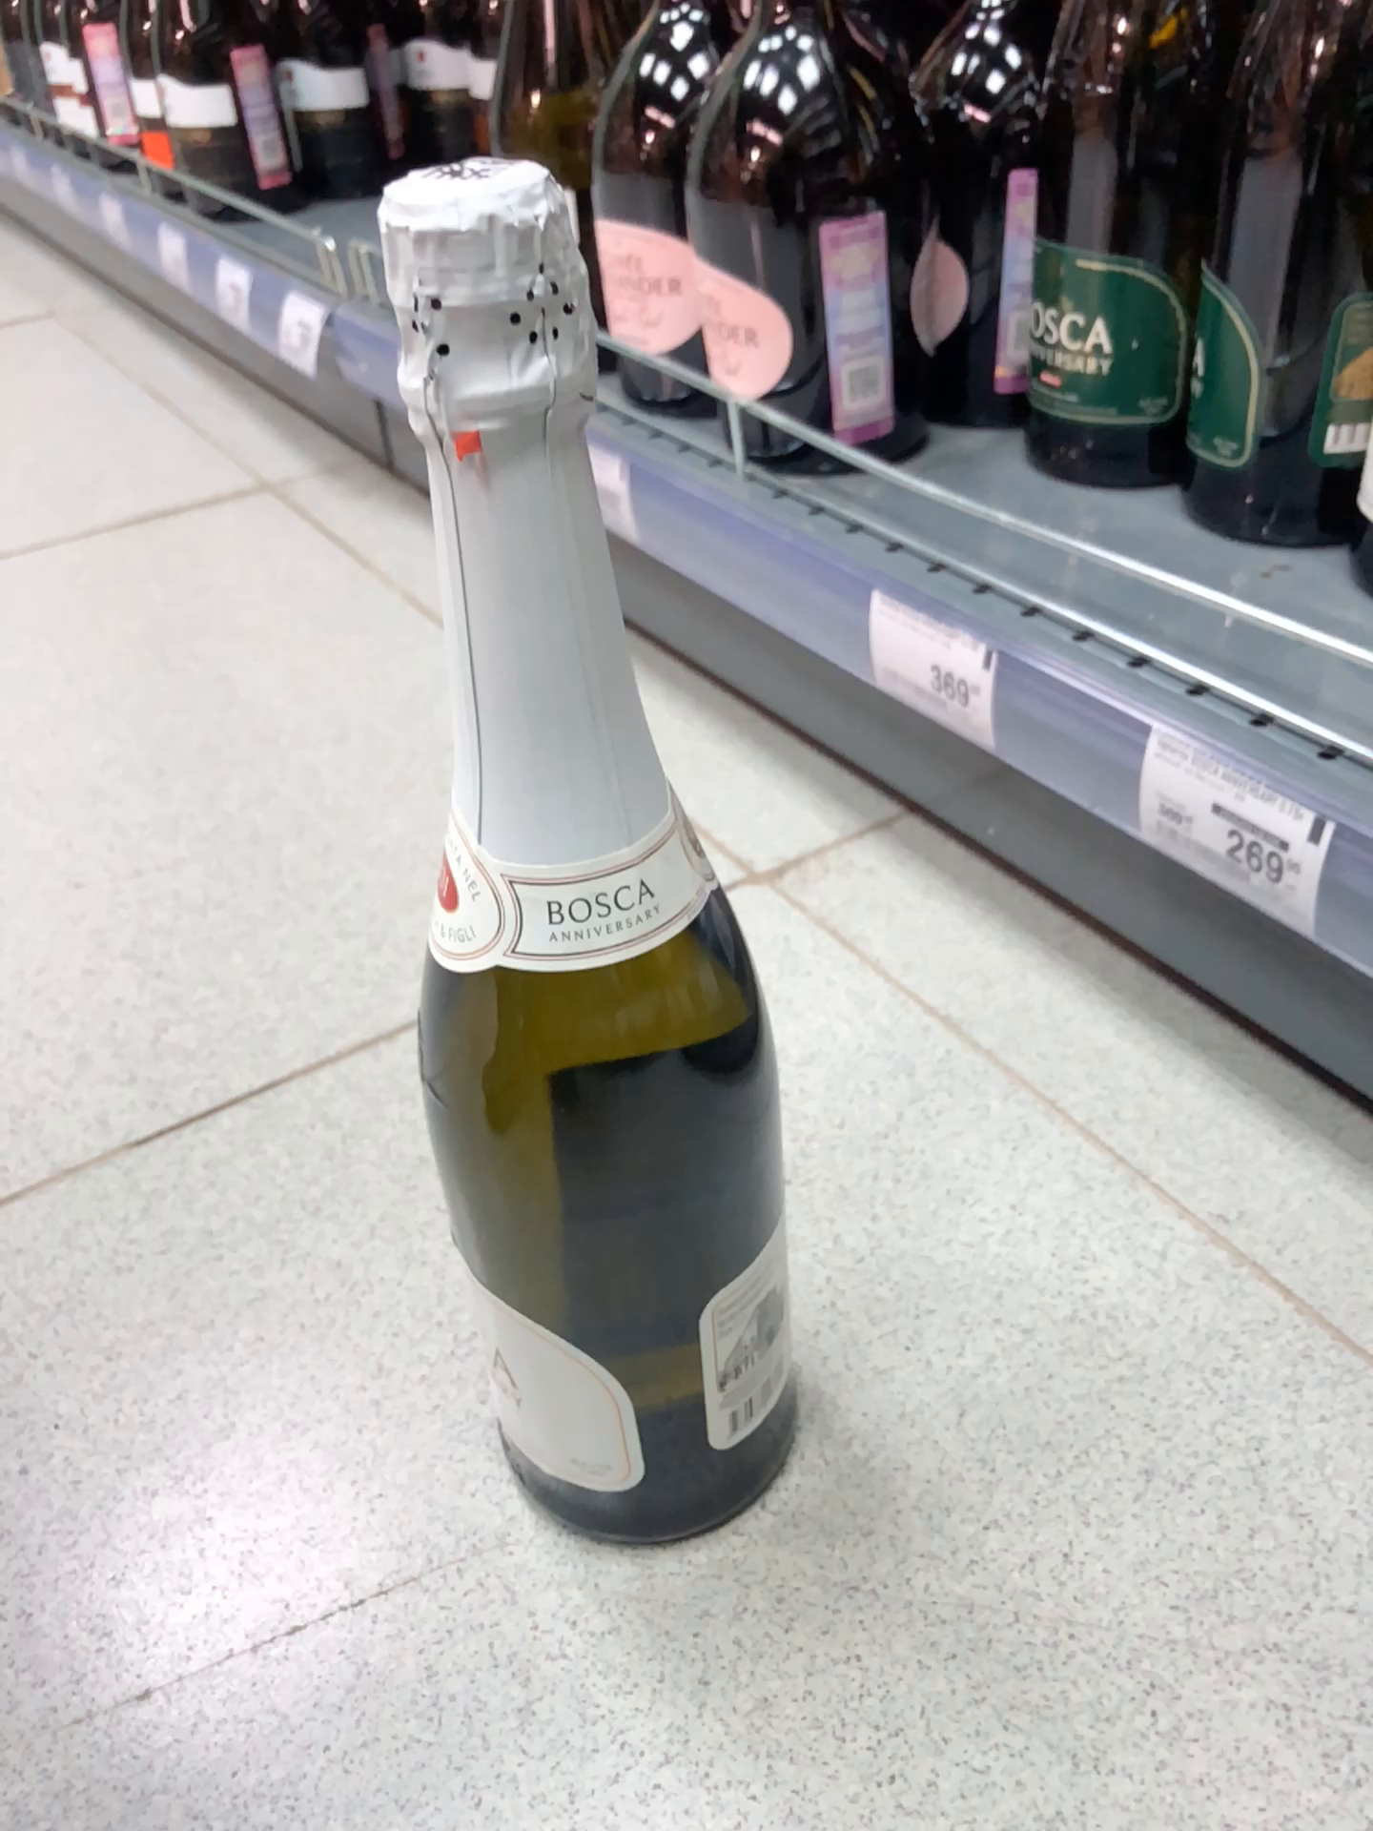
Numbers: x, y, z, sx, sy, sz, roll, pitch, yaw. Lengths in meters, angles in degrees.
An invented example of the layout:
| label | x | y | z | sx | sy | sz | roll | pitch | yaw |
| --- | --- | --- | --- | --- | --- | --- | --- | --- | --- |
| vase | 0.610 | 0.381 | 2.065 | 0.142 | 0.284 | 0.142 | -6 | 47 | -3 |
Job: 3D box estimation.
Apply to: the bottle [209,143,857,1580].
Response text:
| label | x | y | z | sx | sy | sz | roll | pitch | yaw |
| --- | --- | --- | --- | --- | --- | --- | --- | --- | --- |
| bottle | -0.020 | 0.010 | 0.341 | 0.090 | 0.308 | 0.091 | -3 | 35 | 2 |
